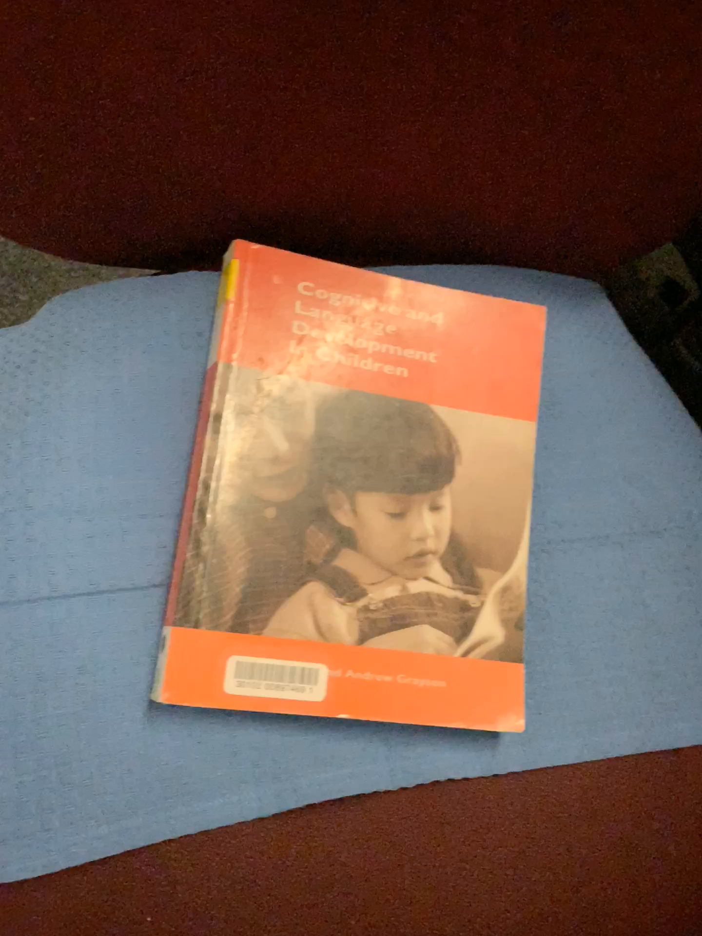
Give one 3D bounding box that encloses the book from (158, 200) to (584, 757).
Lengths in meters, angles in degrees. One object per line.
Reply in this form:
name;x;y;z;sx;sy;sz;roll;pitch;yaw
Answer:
book;0.018;0.006;0.407;0.200;0.060;0.271;8;78;-9
